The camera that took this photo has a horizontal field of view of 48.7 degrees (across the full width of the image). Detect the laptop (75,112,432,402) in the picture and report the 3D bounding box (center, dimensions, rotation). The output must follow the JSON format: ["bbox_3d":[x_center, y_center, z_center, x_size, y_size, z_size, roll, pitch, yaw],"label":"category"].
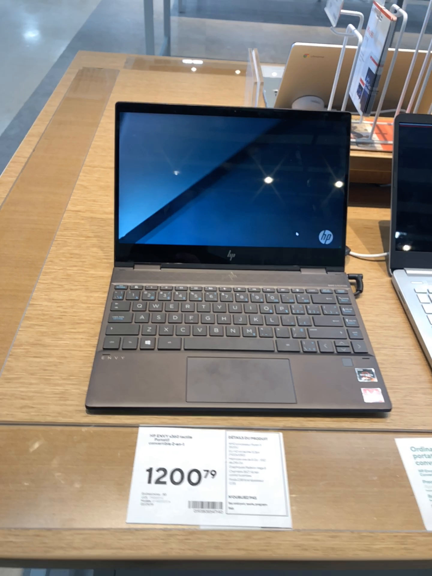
[{"bbox_3d":[0.031,-0.053,0.544,0.293,0.162,0.319,1,42,-3],"label":"laptop"}]
